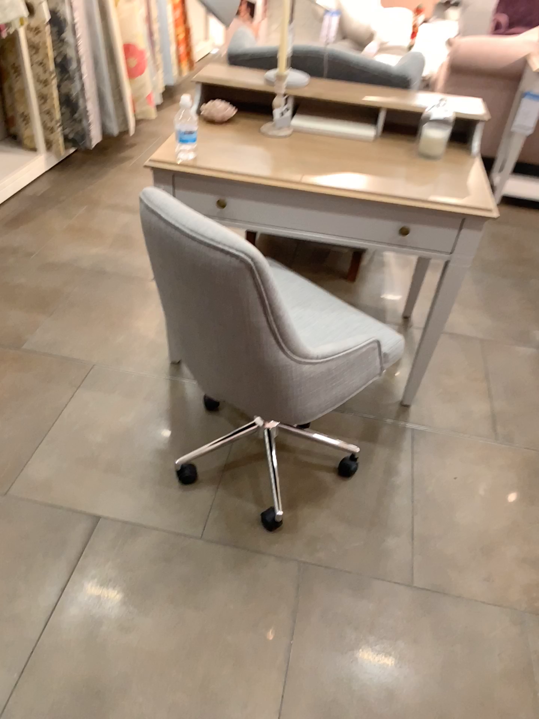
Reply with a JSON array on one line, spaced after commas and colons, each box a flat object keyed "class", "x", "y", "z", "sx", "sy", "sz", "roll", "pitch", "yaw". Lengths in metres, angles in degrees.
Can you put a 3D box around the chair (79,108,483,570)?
[{"class": "chair", "x": -0.003, "y": -0.081, "z": 1.491, "sx": 0.638, "sy": 0.891, "sz": 0.627, "roll": -29, "pitch": 51, "yaw": -34}]
